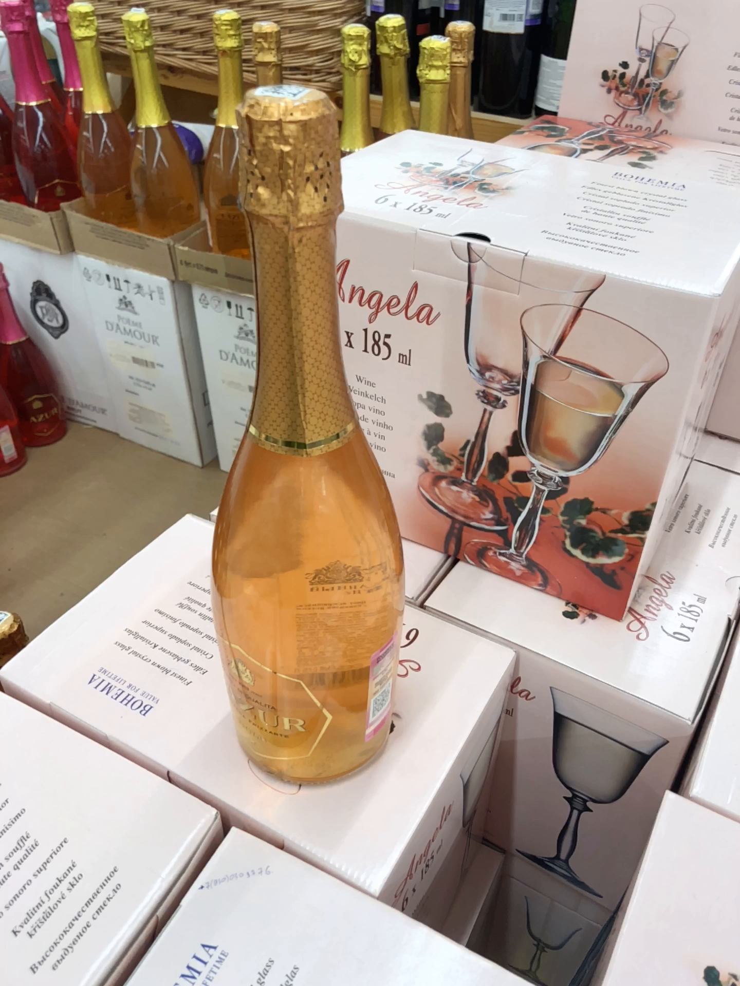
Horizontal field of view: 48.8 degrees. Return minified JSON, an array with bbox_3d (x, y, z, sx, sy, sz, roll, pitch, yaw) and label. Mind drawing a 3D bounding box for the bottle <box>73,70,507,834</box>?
[{"bbox_3d":[-0.026,0.001,0.344,0.100,0.298,0.090,30,47,32],"label":"bottle"}]
